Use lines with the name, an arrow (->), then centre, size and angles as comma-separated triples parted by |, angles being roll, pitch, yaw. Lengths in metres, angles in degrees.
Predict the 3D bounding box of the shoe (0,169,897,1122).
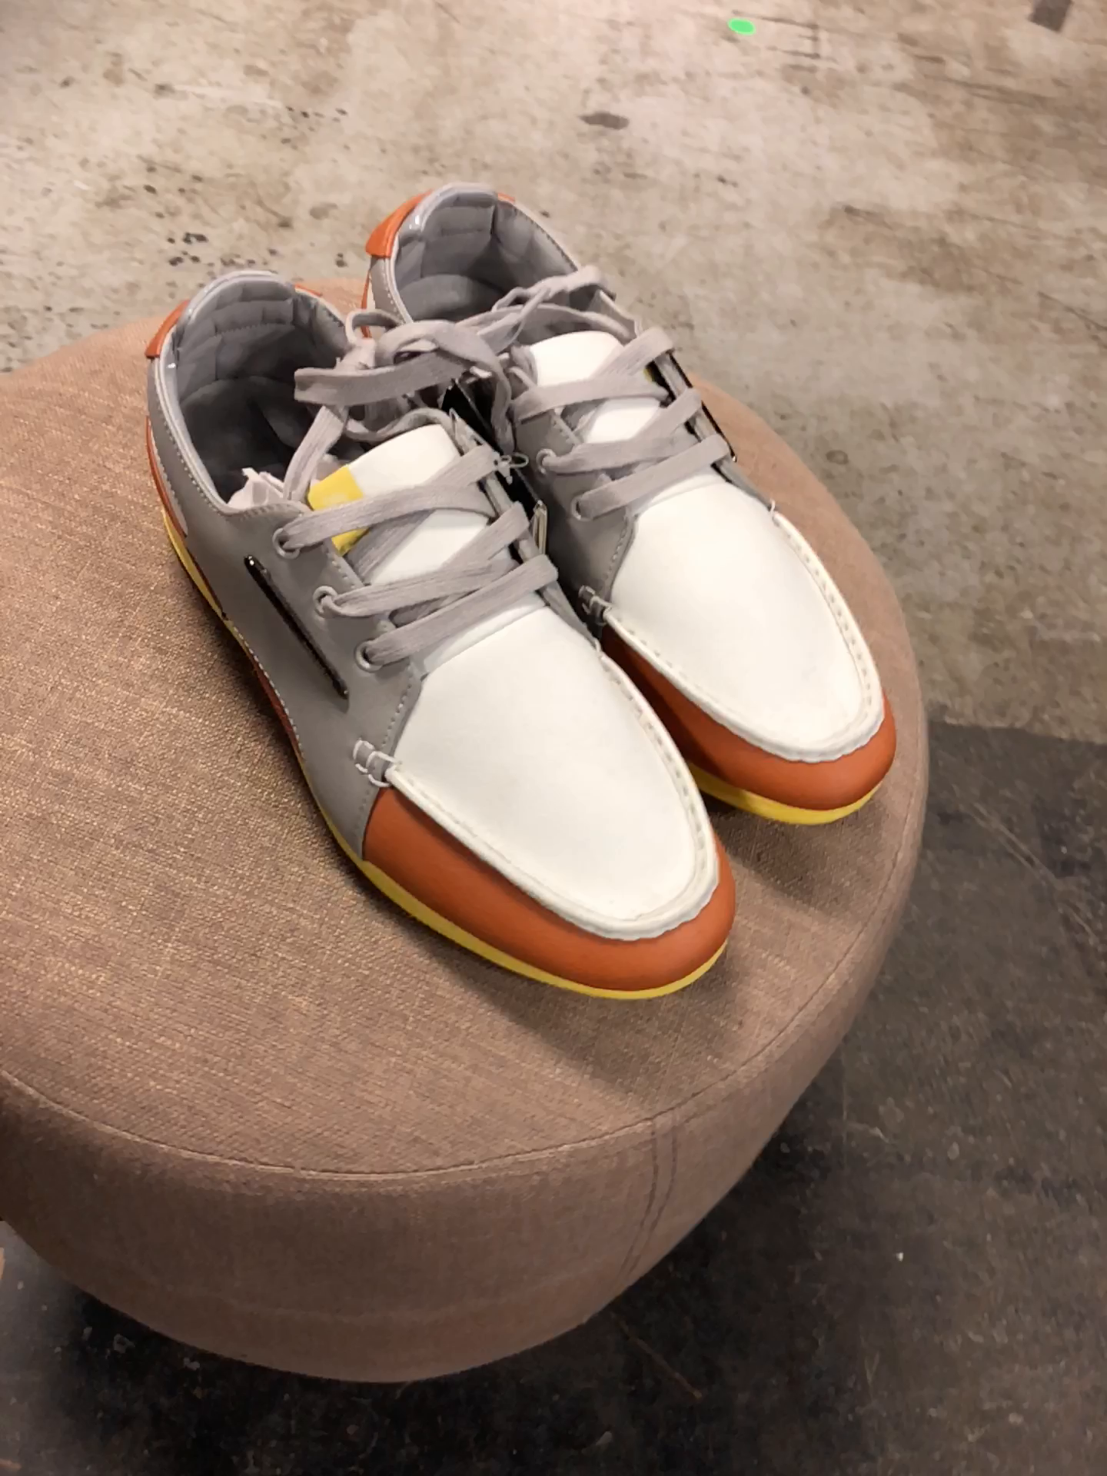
shoe -> -0.046, -0.040, 0.376 | 0.100, 0.099, 0.281 | -31, 67, -25

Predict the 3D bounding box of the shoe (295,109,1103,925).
shoe -> 0.028, -0.081, 0.400 | 0.100, 0.099, 0.251 | -31, 67, -25
